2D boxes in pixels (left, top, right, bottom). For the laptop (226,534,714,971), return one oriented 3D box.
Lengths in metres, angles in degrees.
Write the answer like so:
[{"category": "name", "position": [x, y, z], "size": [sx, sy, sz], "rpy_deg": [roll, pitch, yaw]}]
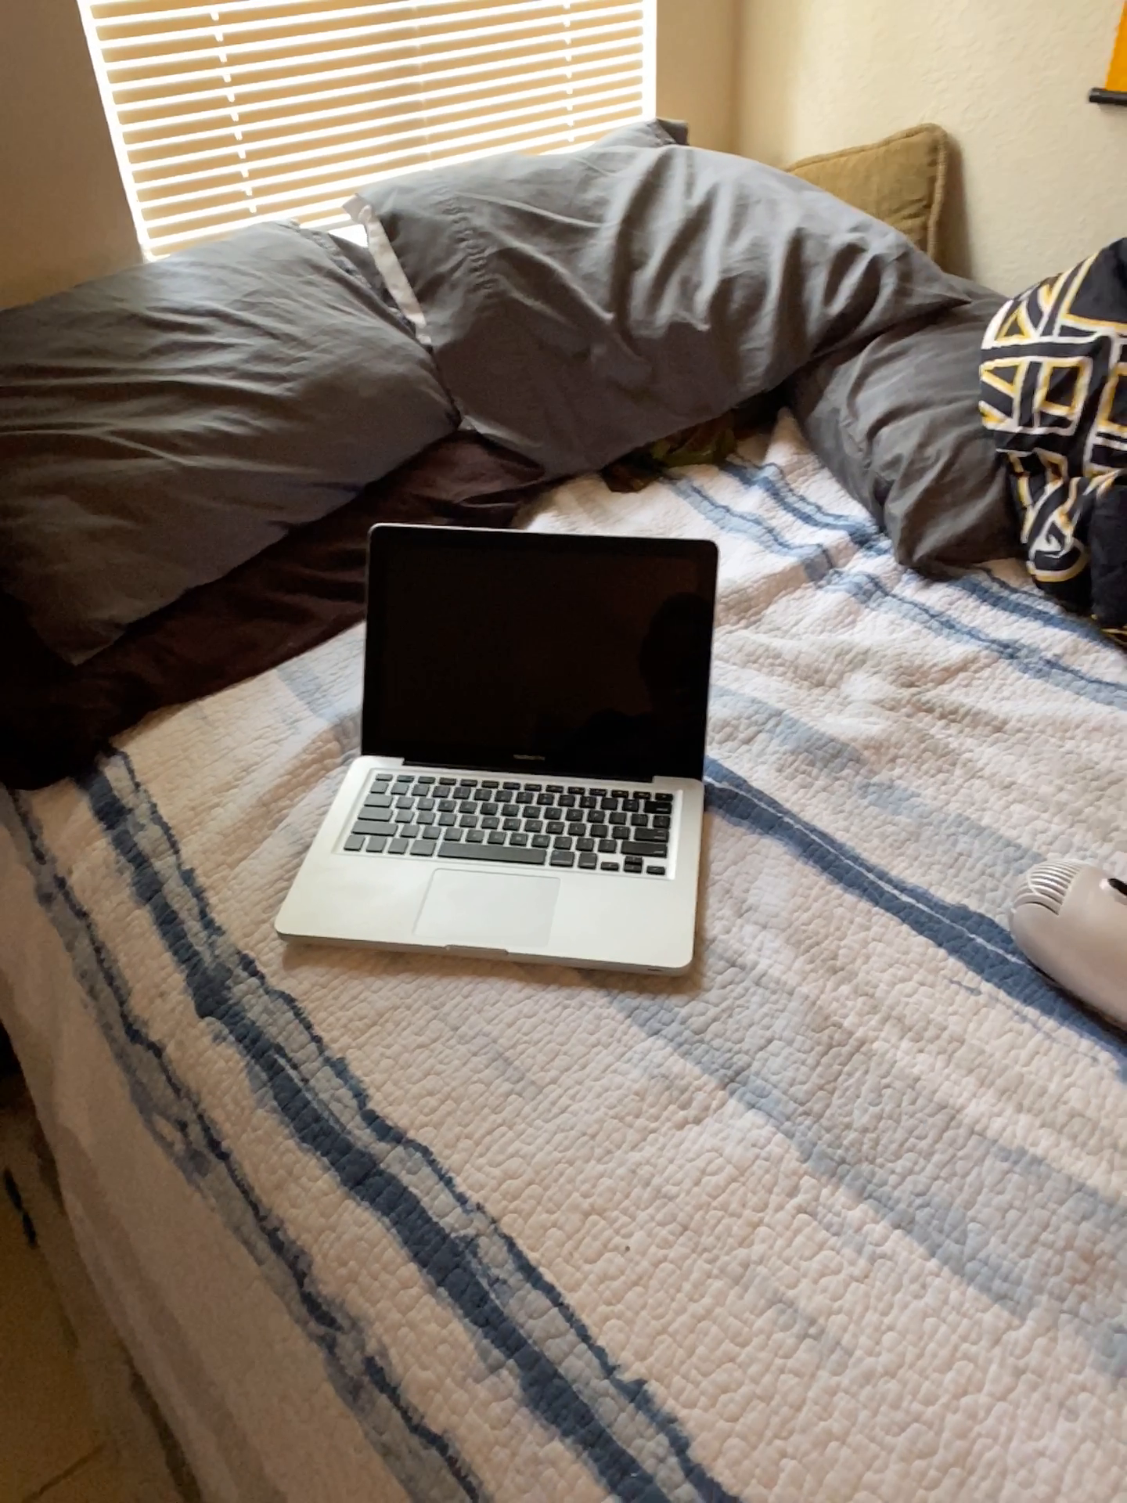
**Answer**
[{"category": "laptop", "position": [-0.045, -0.021, 0.947], "size": [0.319, 0.169, 0.348], "rpy_deg": [4, 37, 8]}]
